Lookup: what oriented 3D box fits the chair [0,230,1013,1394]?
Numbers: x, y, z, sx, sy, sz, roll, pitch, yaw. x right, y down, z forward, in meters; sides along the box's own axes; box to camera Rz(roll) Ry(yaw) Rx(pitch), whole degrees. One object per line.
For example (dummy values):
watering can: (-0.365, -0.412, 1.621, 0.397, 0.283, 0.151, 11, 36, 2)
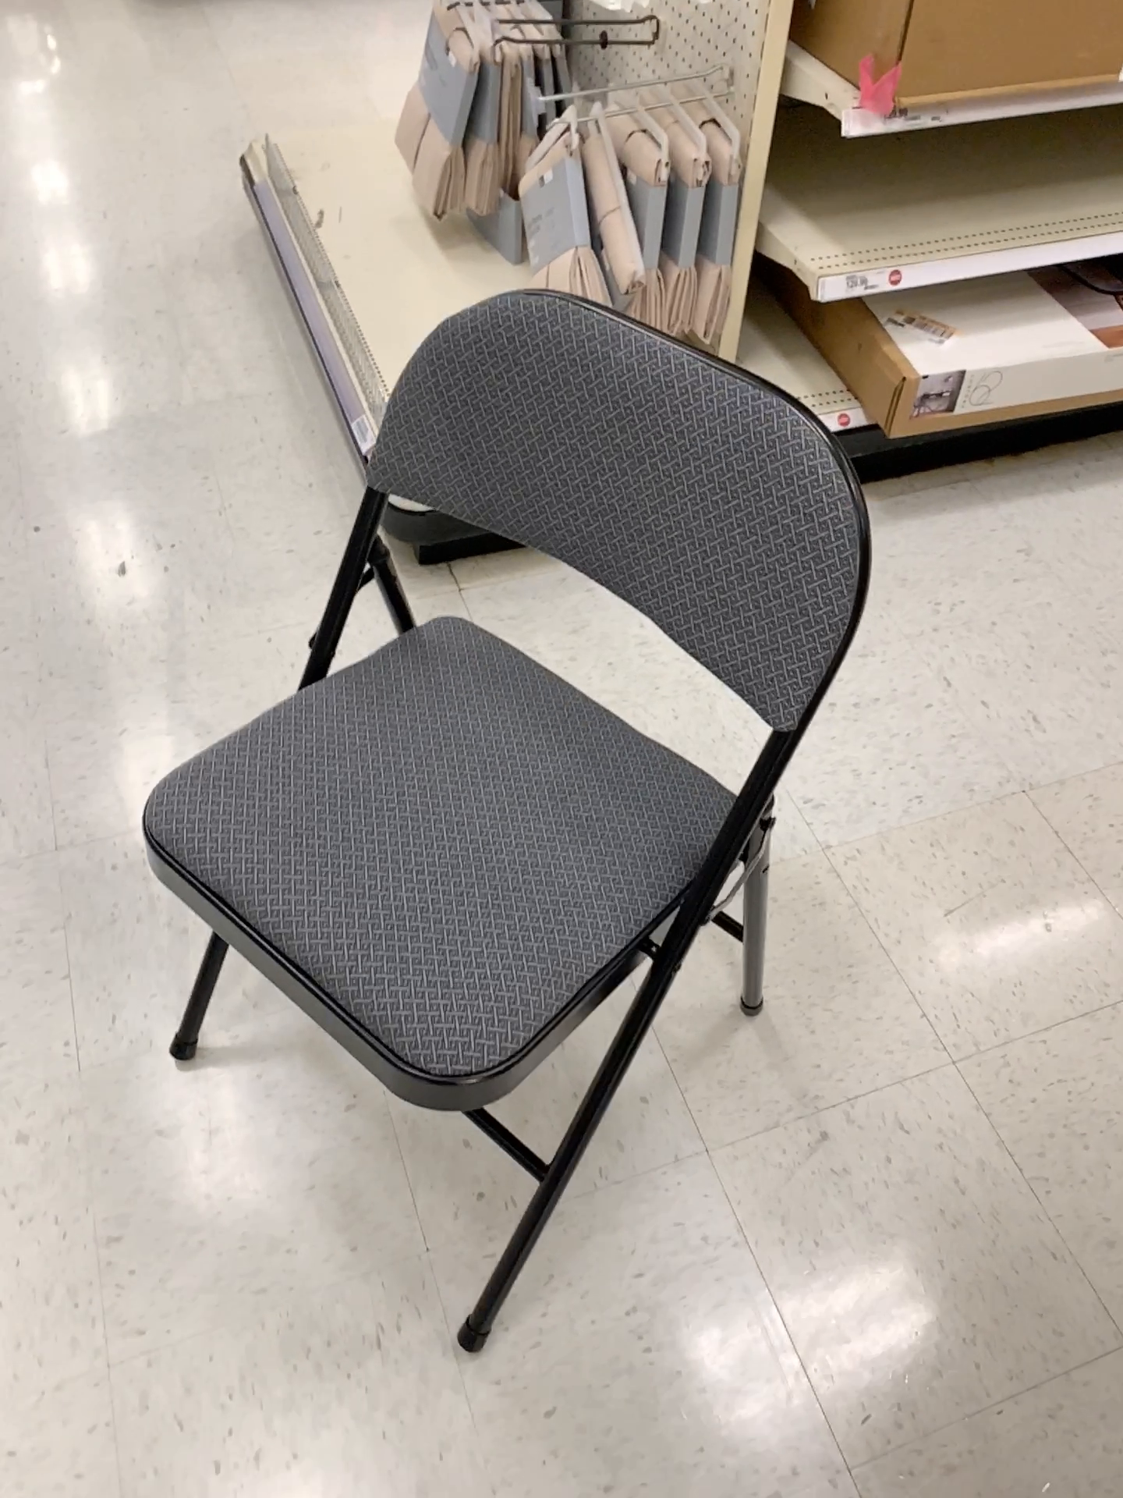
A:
chair: (-0.076, 0.063, 0.989, 0.501, 0.677, 0.551, 34, 56, 24)
